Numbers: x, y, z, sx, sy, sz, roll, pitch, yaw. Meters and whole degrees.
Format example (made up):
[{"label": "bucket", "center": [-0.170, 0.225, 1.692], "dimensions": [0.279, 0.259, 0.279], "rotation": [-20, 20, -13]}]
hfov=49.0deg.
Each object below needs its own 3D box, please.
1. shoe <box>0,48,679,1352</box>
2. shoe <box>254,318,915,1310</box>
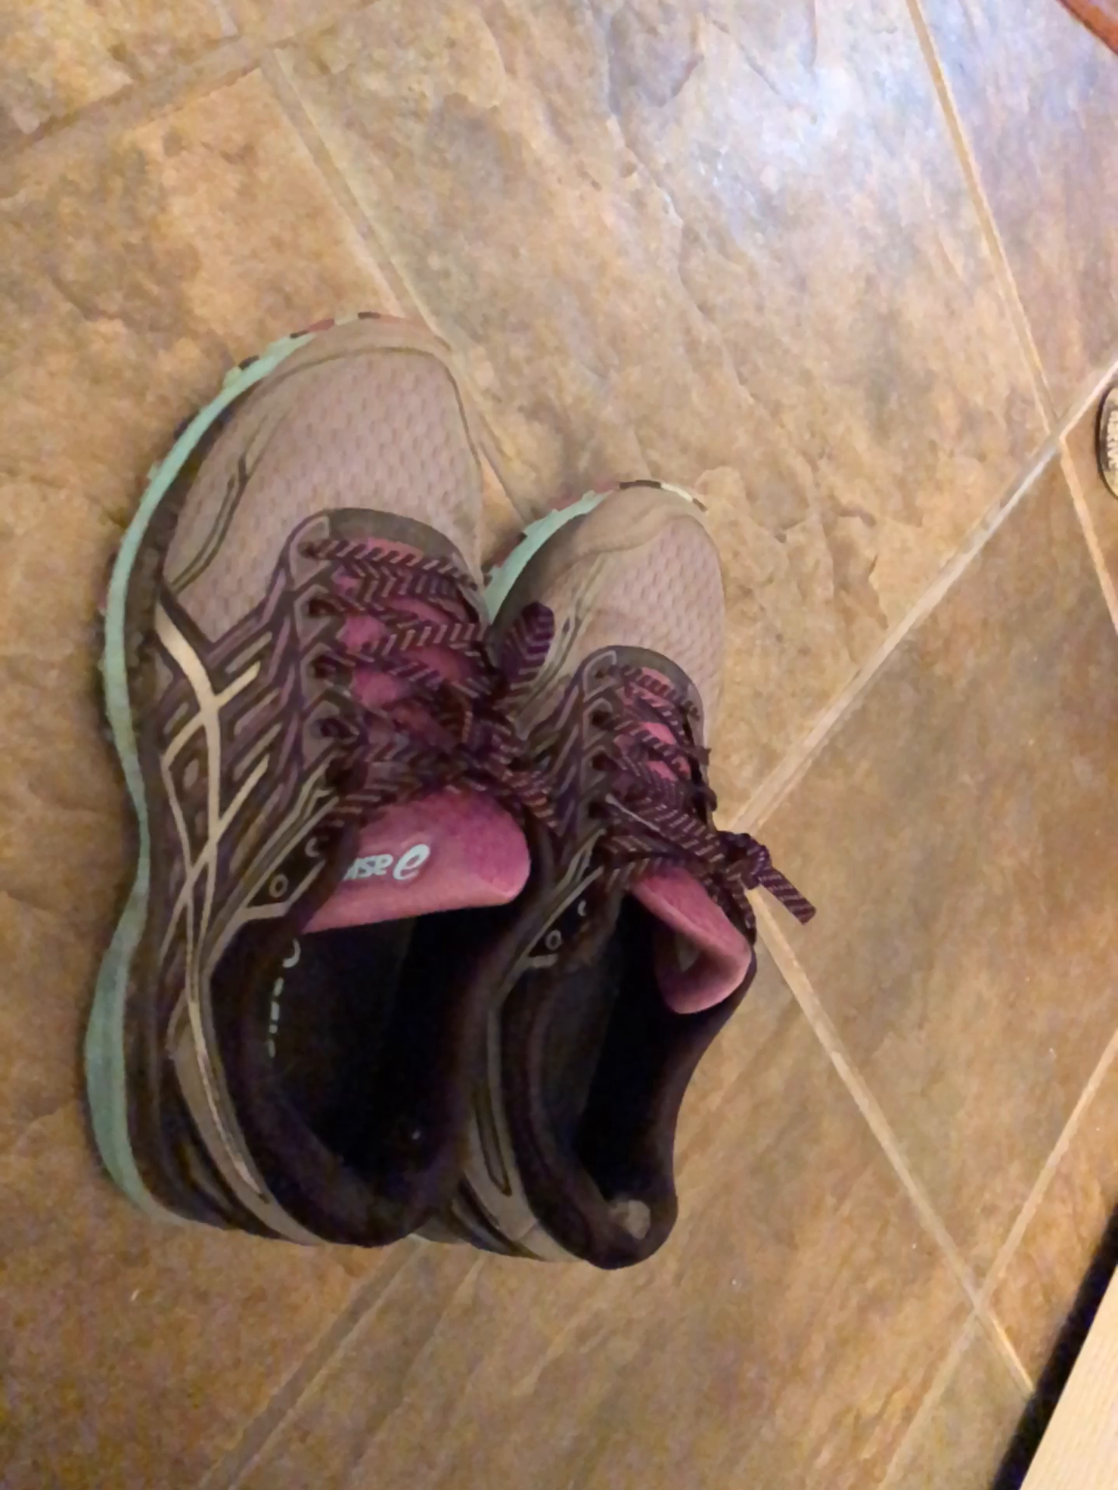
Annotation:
[{"label": "shoe", "center": [-0.063, -0.009, 0.342], "dimensions": [0.110, 0.120, 0.280], "rotation": [8, 87, -39]}, {"label": "shoe", "center": [0.011, 0.023, 0.415], "dimensions": [0.110, 0.120, 0.280], "rotation": [21, 80, -38]}]
